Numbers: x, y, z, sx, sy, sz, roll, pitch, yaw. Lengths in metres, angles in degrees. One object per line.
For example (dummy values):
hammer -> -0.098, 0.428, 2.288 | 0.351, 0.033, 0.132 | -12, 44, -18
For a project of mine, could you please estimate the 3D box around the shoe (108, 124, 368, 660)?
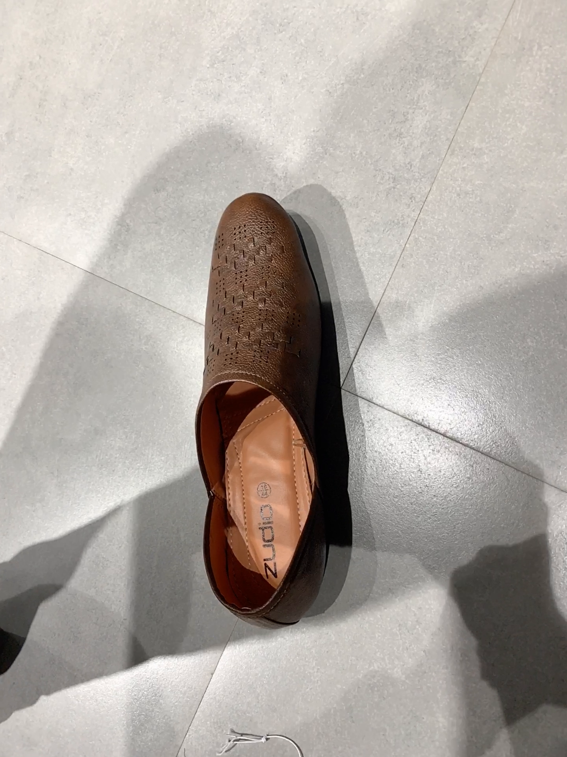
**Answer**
shoe -> -0.028, 0.011, 0.378 | 0.100, 0.110, 0.290 | -10, 80, 21
